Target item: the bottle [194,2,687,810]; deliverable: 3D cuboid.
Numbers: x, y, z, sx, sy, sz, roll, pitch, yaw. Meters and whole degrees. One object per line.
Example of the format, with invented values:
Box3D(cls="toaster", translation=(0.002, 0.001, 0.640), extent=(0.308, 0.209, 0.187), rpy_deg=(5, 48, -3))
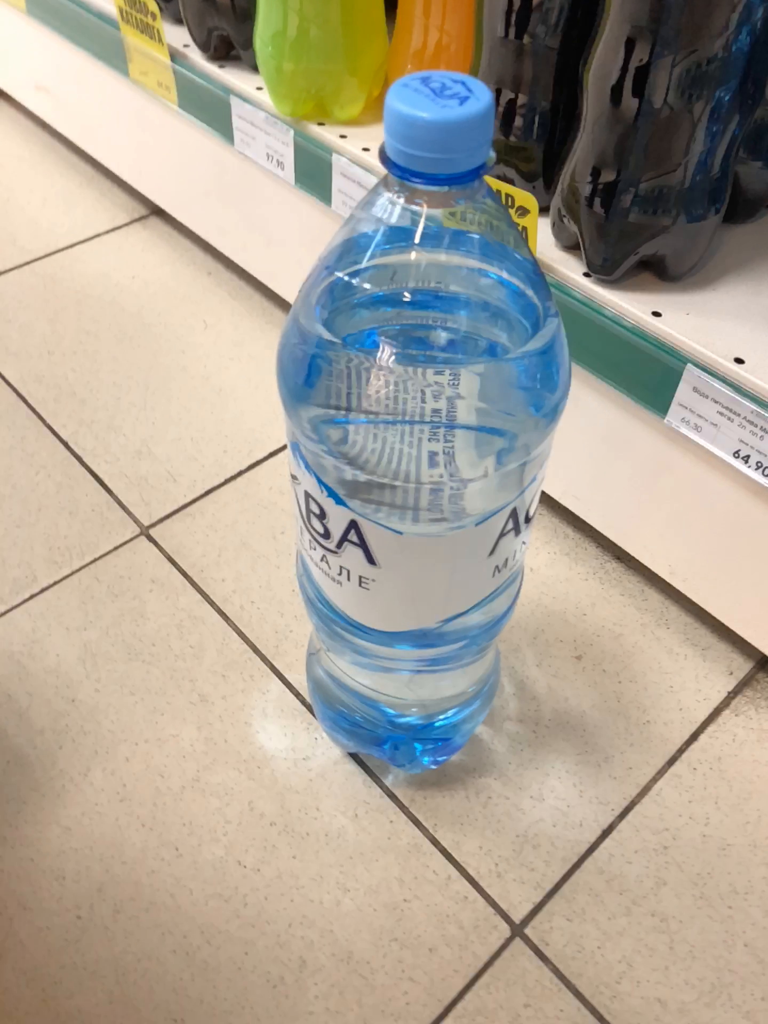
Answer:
Box3D(cls="bottle", translation=(0.007, -0.007, 0.349), extent=(0.088, 0.323, 0.106), rpy_deg=(-25, 55, -22))
